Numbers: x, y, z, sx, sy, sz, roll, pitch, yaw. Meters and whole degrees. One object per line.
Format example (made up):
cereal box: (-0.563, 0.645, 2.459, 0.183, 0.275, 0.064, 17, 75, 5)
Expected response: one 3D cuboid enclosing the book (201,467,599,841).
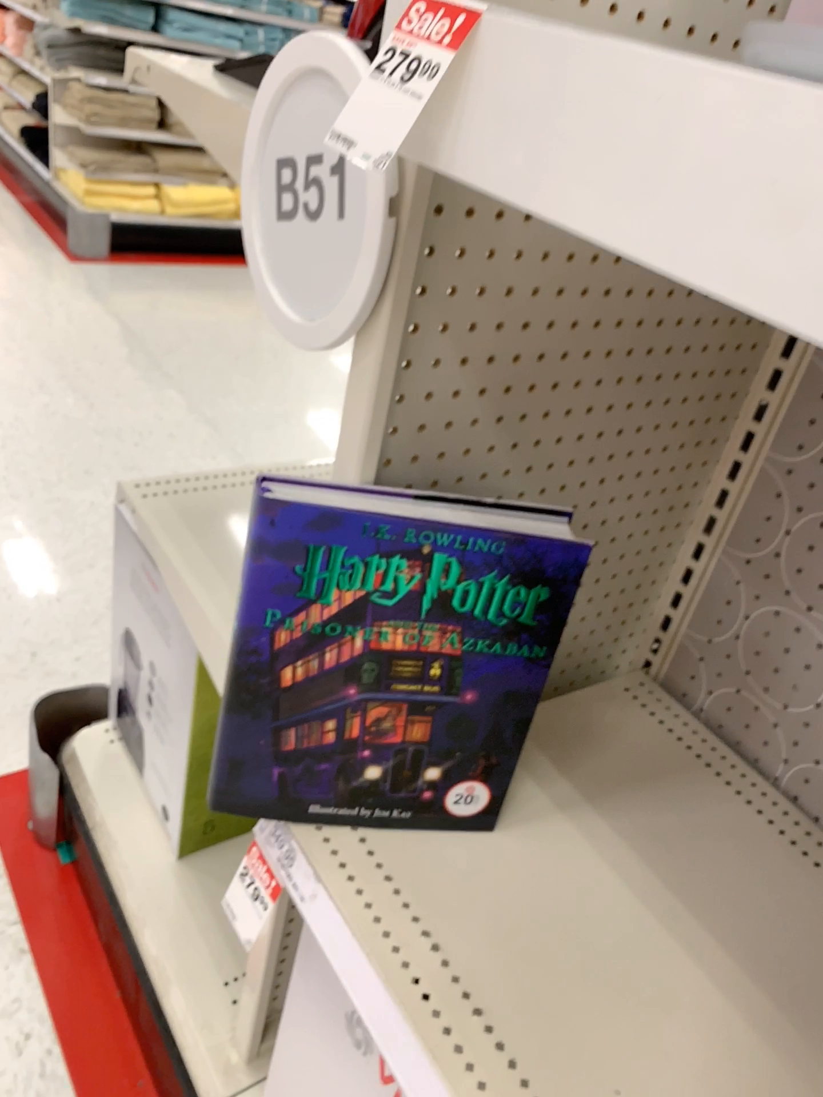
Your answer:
book: (-0.020, 0.093, 0.632, 0.240, 0.280, 0.050, 6, 27, -12)
